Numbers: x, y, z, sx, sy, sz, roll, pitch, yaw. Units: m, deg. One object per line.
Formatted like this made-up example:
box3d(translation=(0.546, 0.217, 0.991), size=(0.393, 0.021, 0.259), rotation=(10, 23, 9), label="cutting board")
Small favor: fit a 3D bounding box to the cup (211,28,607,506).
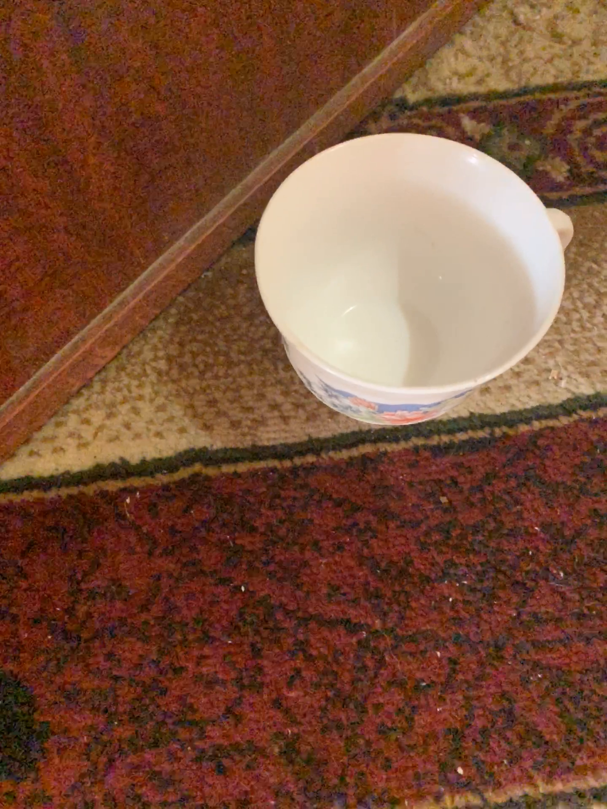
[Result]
box3d(translation=(0.045, -0.040, 0.183), size=(0.109, 0.053, 0.083), rotation=(-29, 69, -9), label="cup")
